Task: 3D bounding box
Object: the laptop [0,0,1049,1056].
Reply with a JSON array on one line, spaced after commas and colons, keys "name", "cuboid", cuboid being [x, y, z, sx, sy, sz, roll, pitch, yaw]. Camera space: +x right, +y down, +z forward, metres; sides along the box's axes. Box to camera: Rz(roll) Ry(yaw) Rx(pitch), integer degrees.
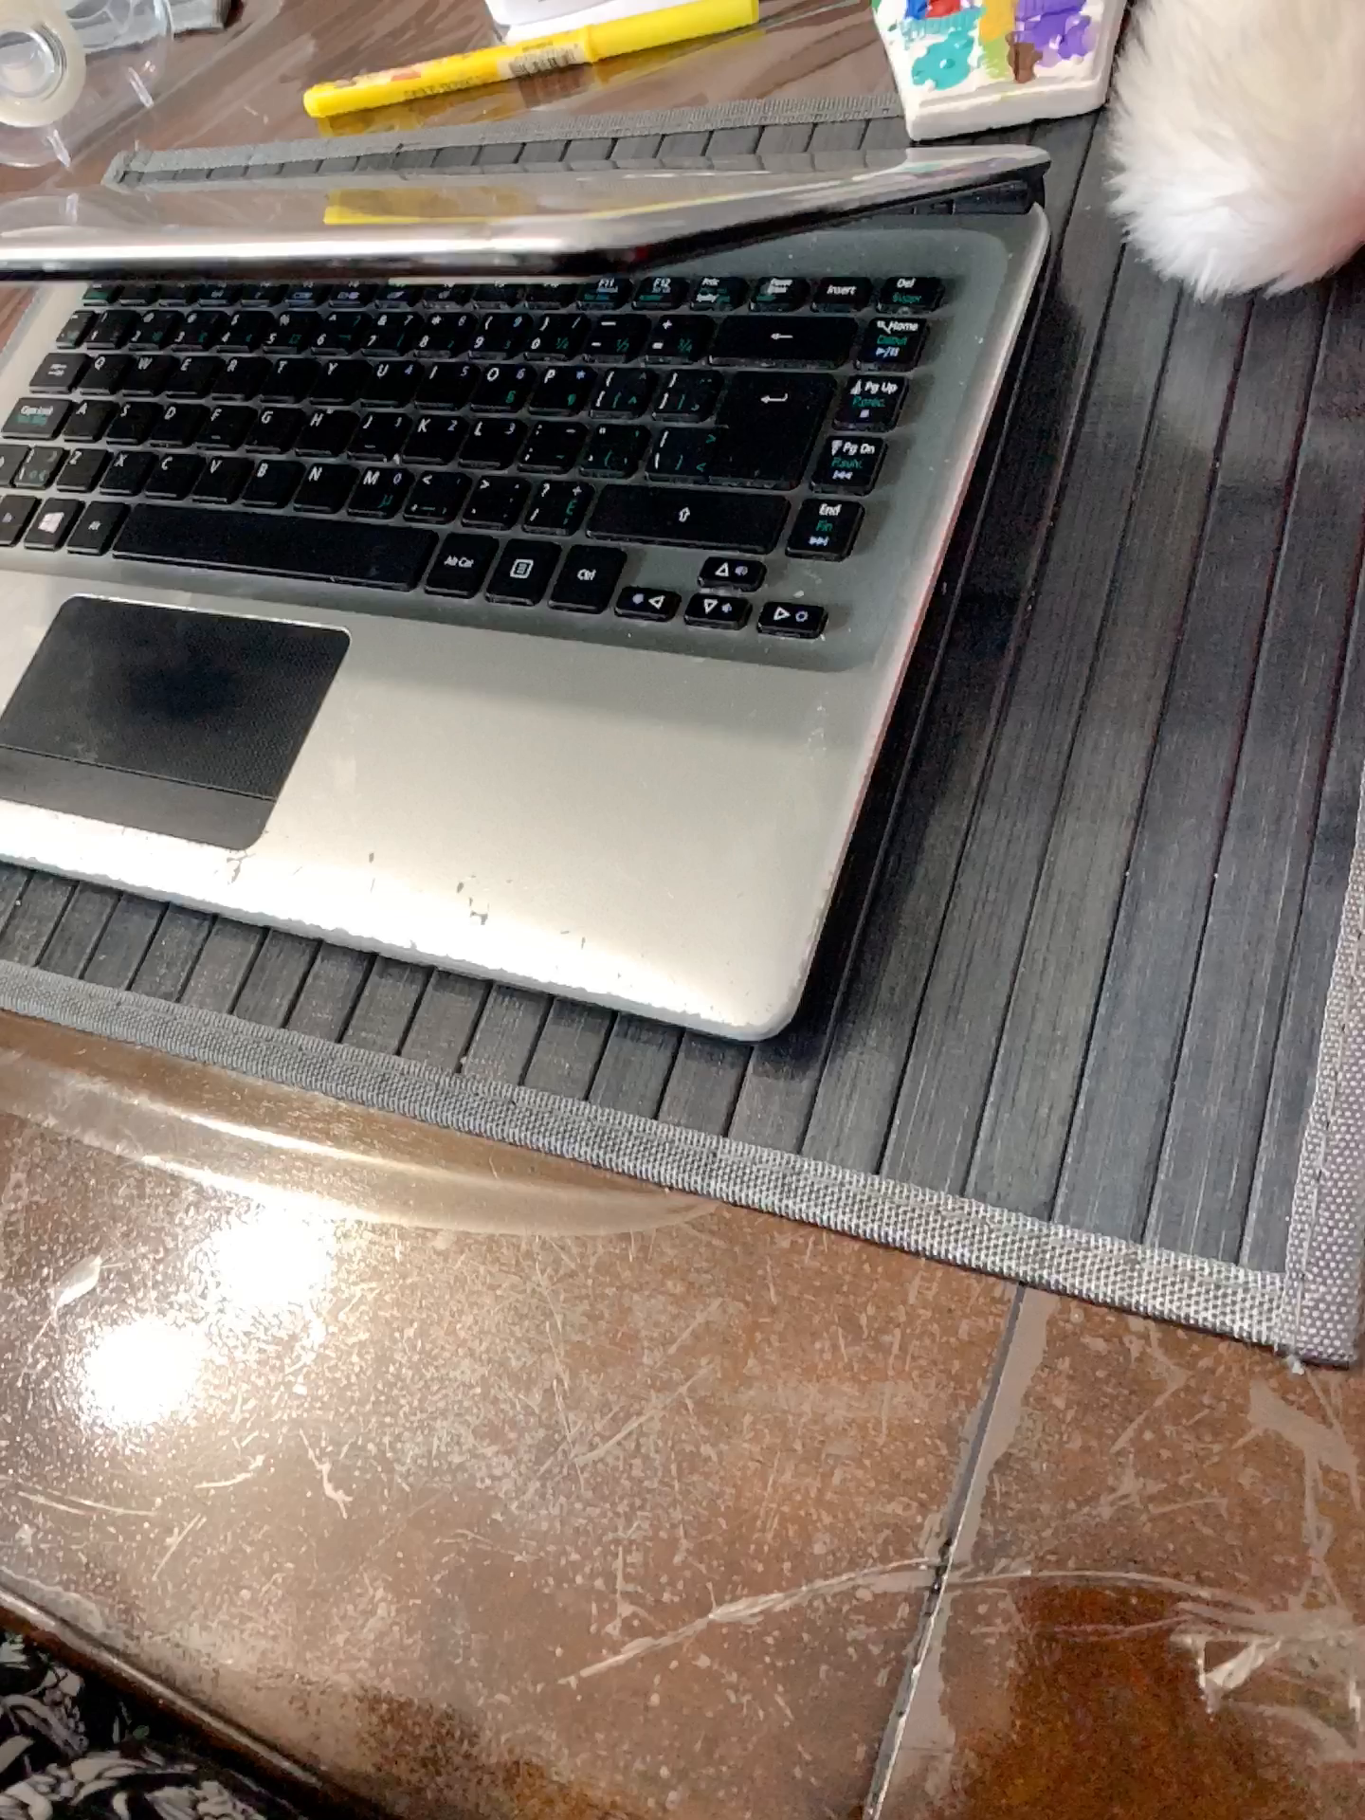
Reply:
[{"name": "laptop", "cuboid": [-0.119, -0.138, 0.335, 0.345, 0.145, 0.236, 12, 70, 25]}]
